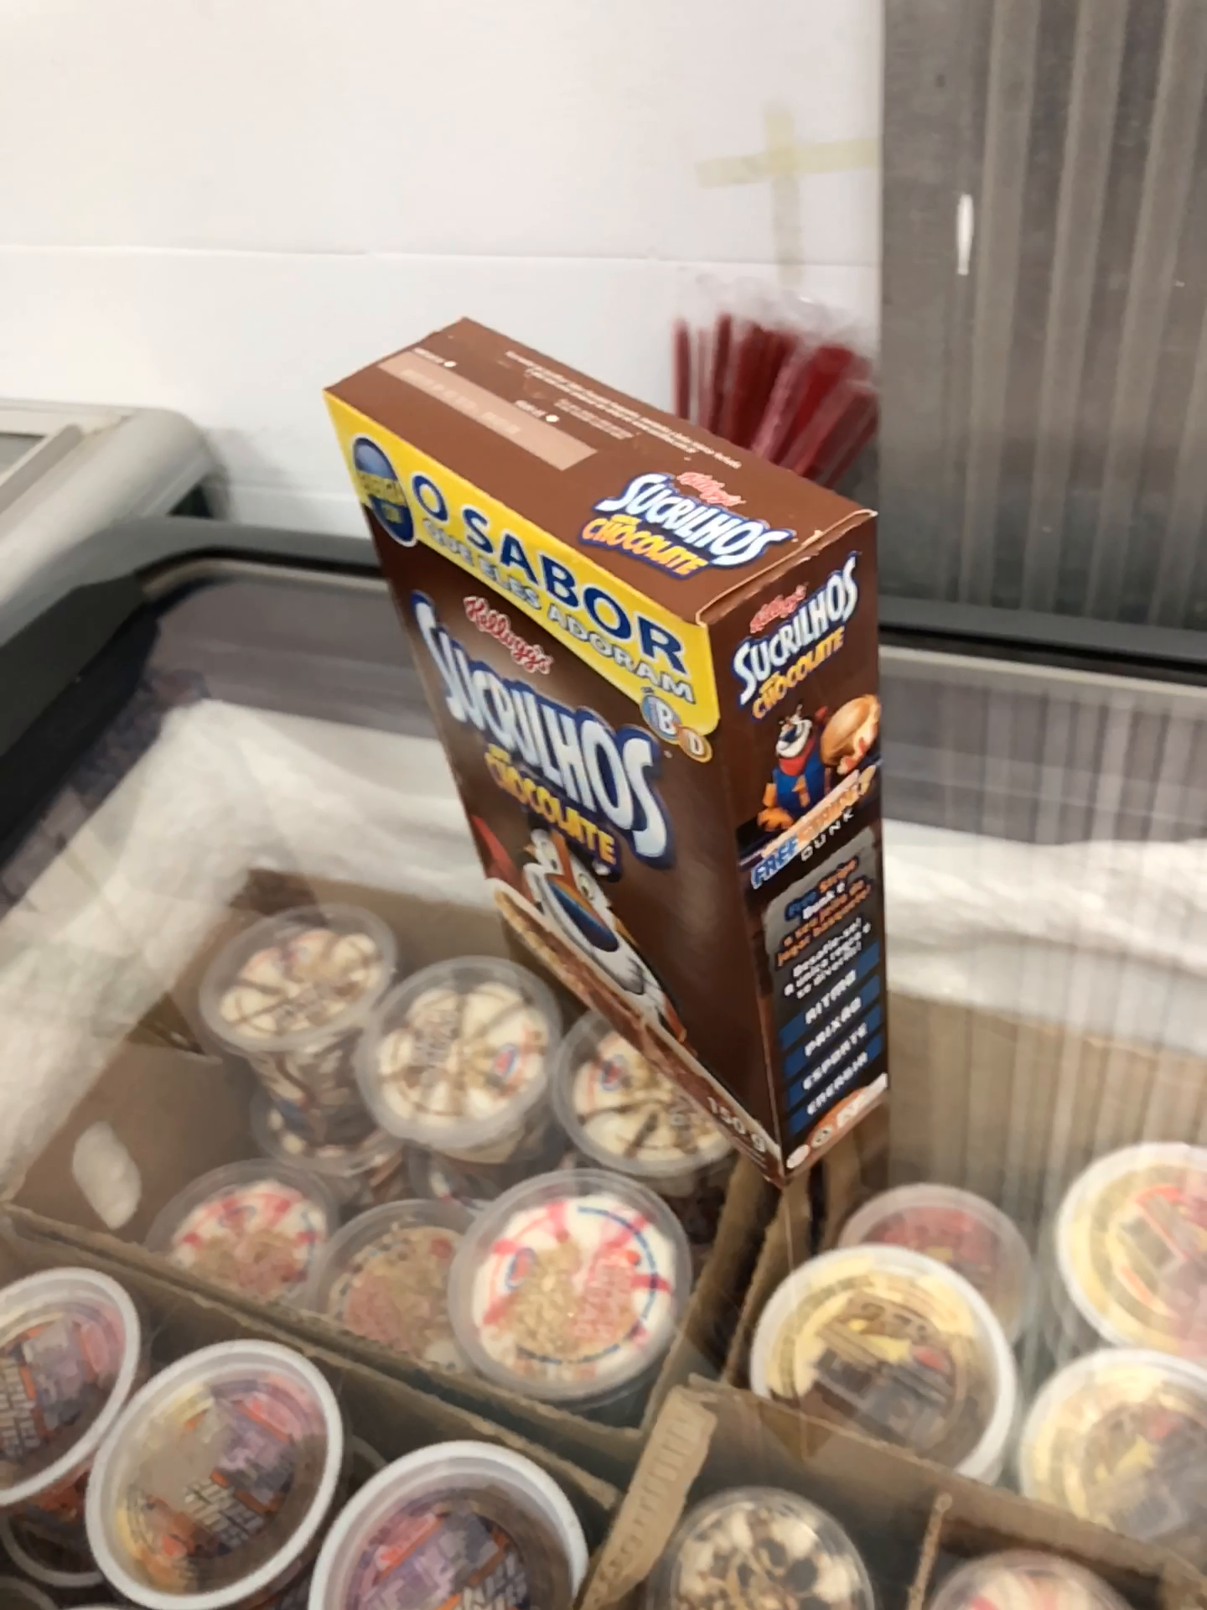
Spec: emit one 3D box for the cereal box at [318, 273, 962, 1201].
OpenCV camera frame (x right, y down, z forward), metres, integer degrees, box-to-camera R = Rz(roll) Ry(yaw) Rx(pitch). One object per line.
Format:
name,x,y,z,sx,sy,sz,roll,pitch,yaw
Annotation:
cereal box,0.015,-0.011,0.356,0.050,0.208,0.151,-35,50,-21
